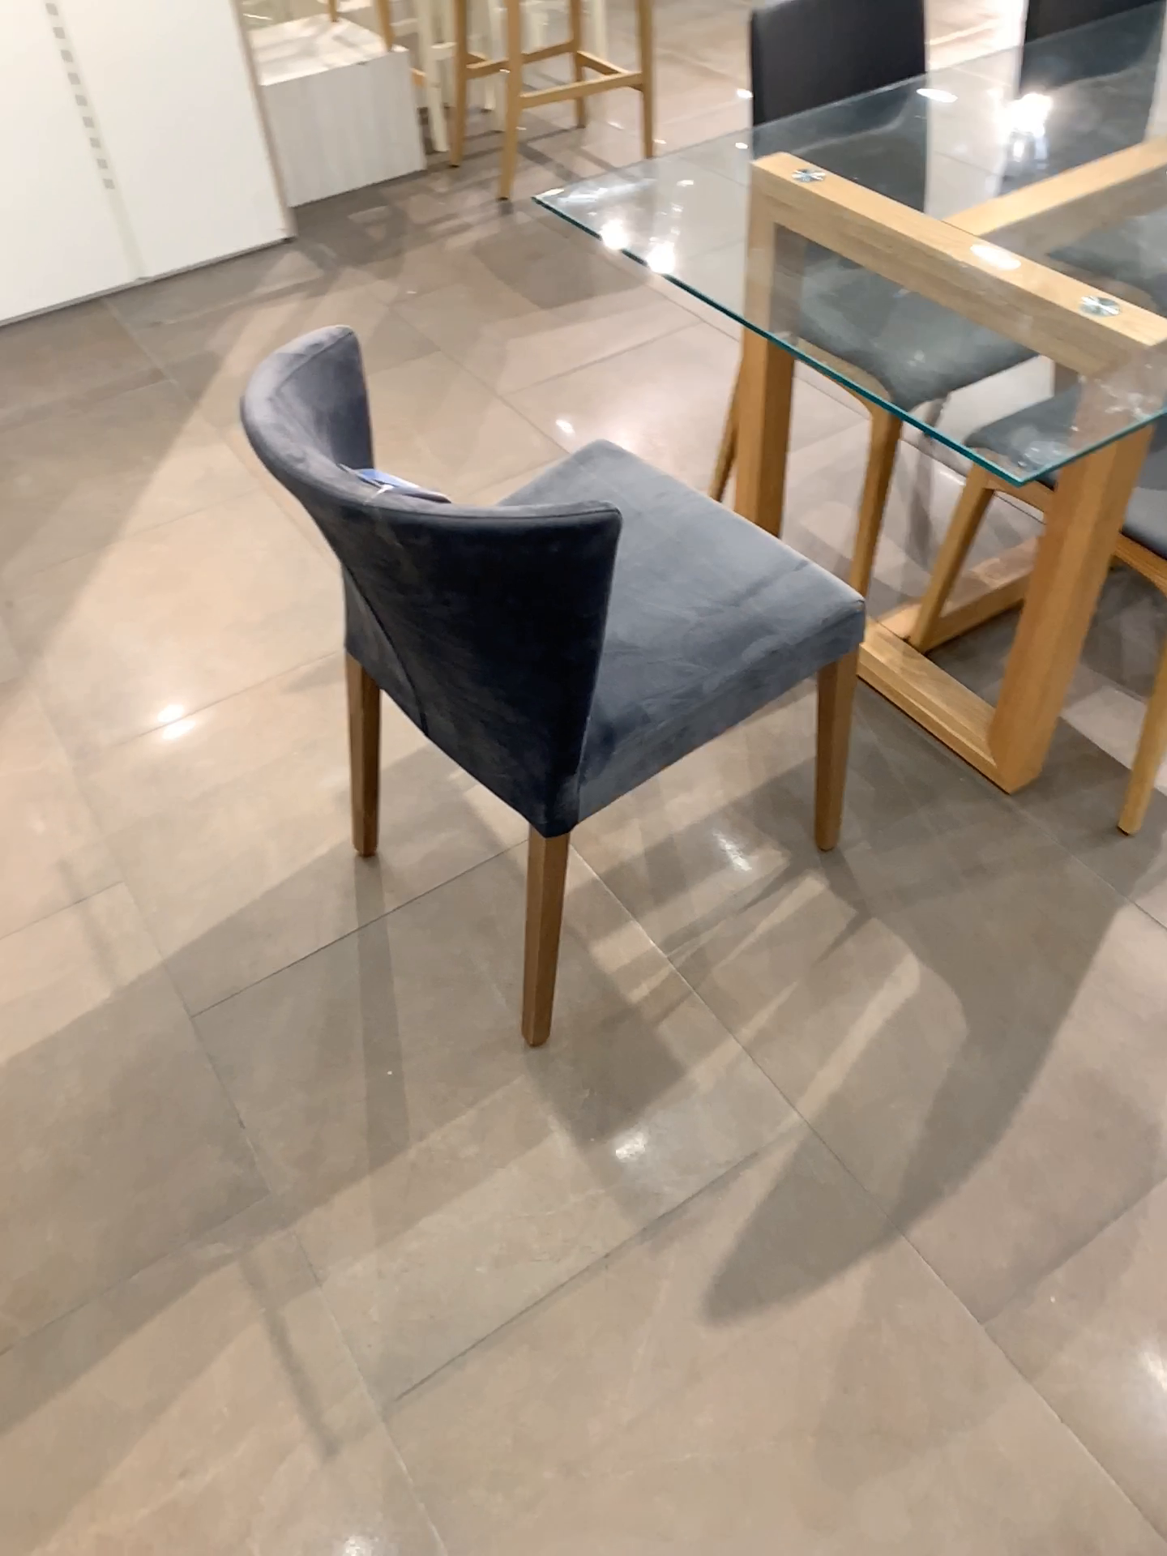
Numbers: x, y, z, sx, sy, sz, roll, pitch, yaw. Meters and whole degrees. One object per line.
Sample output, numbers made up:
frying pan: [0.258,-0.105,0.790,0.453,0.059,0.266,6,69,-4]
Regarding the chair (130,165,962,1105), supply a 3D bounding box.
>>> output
chair: [-0.036,-0.176,1.470,0.615,0.805,0.581,-29,50,-21]
